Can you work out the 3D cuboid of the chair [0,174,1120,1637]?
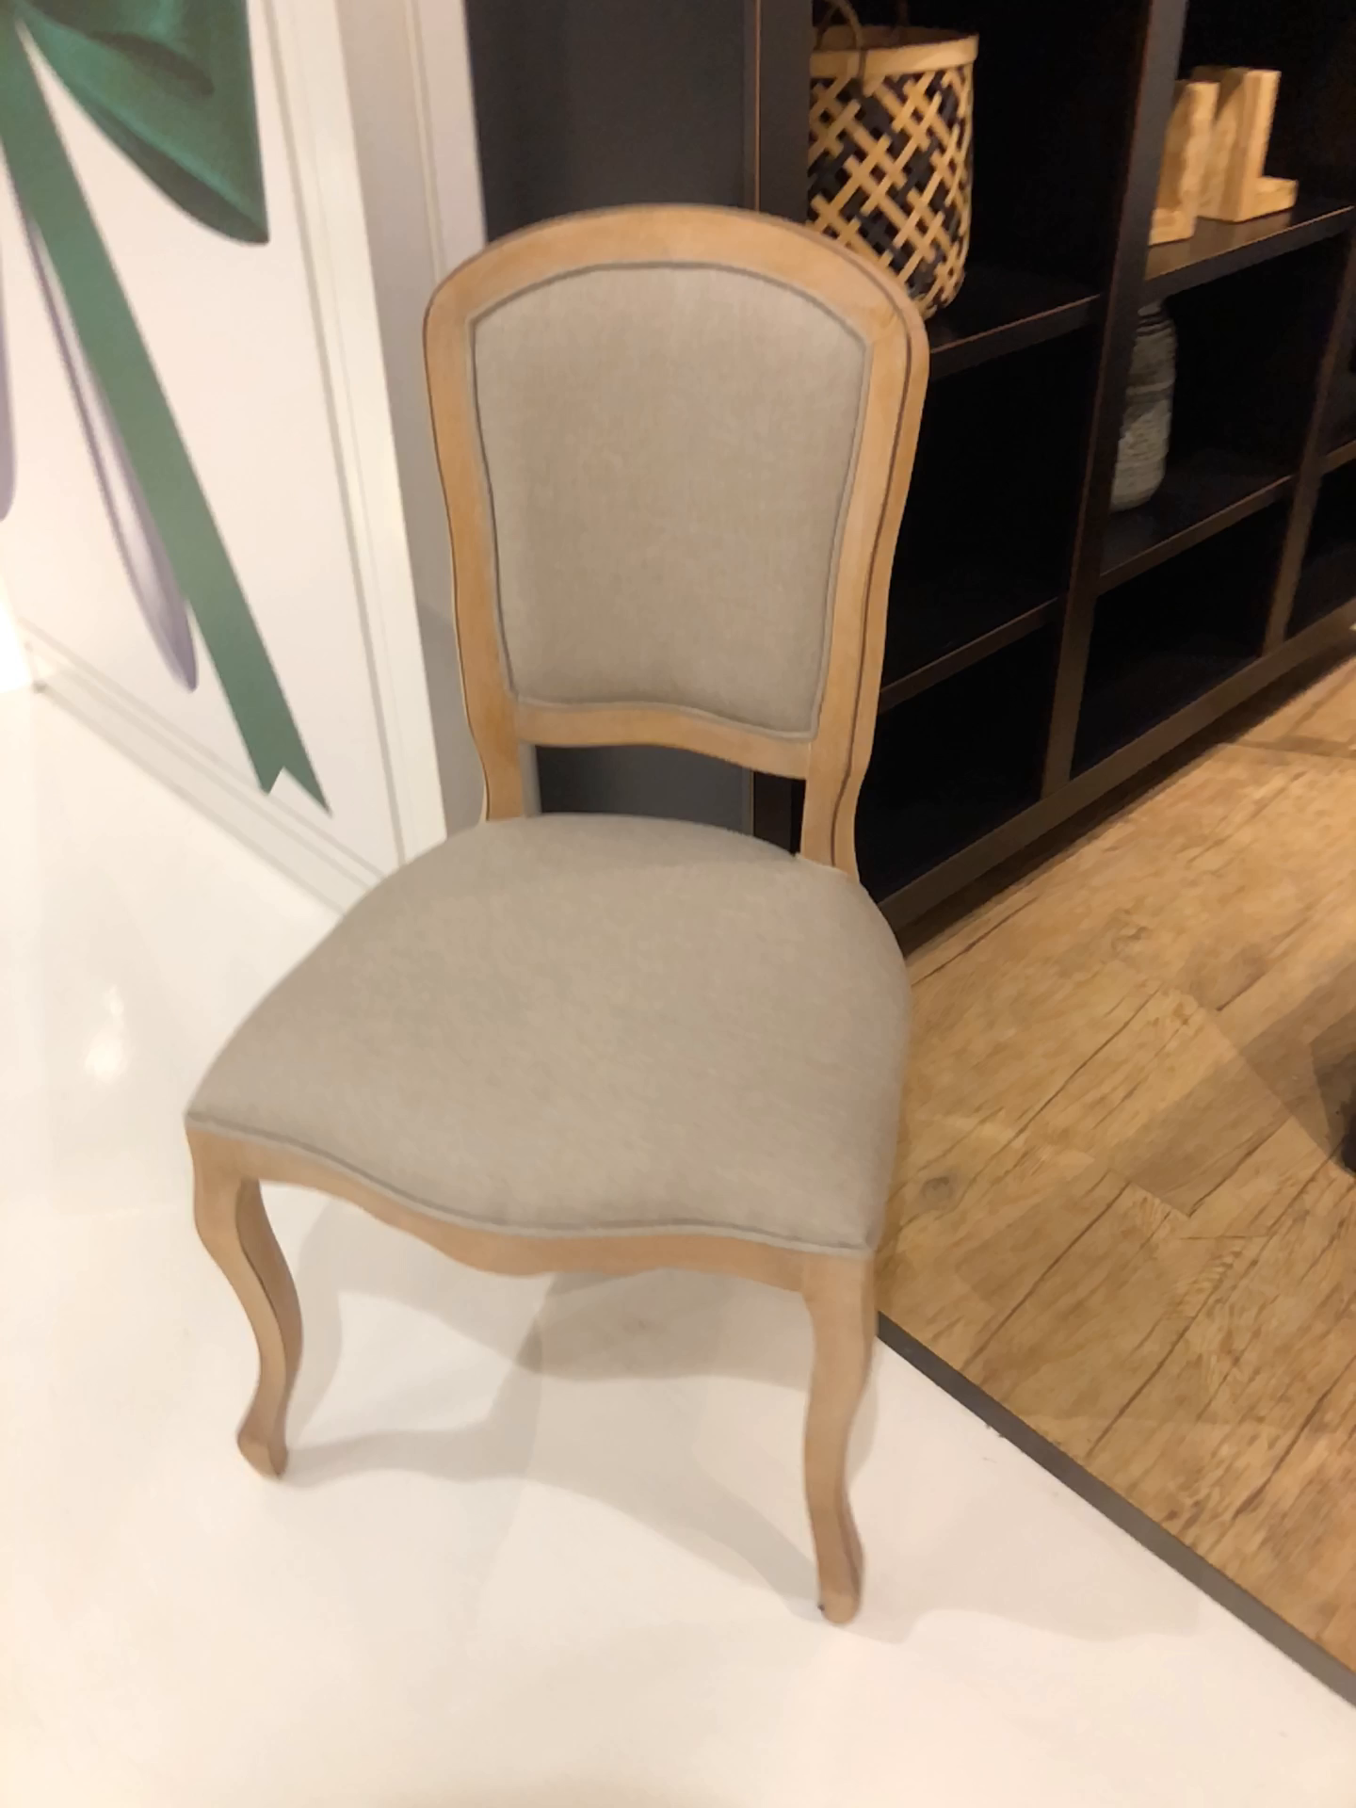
[{"bbox_3d":[-0.049,-0.014,1.128,0.600,0.873,0.554,8,37,13],"label":"chair"}]
